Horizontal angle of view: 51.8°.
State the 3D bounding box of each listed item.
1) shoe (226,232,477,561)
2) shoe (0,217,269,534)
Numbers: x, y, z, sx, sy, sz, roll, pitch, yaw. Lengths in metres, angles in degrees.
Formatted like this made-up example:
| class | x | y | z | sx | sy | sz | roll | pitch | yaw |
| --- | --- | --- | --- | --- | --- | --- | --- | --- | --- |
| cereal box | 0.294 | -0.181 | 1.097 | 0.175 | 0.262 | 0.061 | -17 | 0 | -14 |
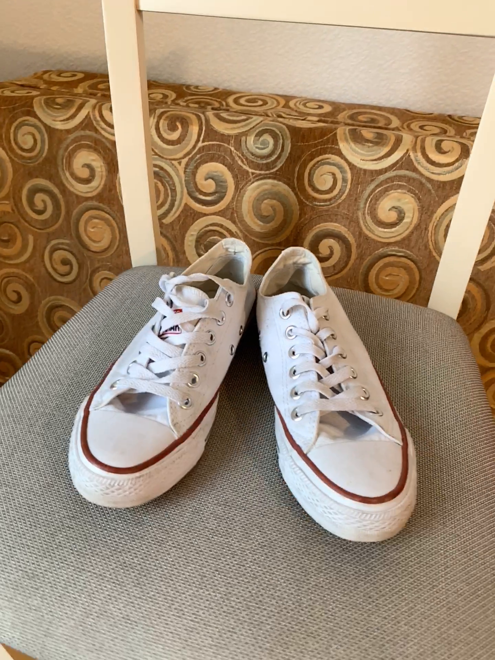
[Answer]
| class | x | y | z | sx | sy | sz | roll | pitch | yaw |
| --- | --- | --- | --- | --- | --- | --- | --- | --- | --- |
| shoe | 0.049 | 0.025 | 0.348 | 0.090 | 0.060 | 0.221 | -8 | 46 | -8 |
| shoe | -0.058 | 0.012 | 0.356 | 0.090 | 0.060 | 0.221 | 12 | 46 | 12 |
